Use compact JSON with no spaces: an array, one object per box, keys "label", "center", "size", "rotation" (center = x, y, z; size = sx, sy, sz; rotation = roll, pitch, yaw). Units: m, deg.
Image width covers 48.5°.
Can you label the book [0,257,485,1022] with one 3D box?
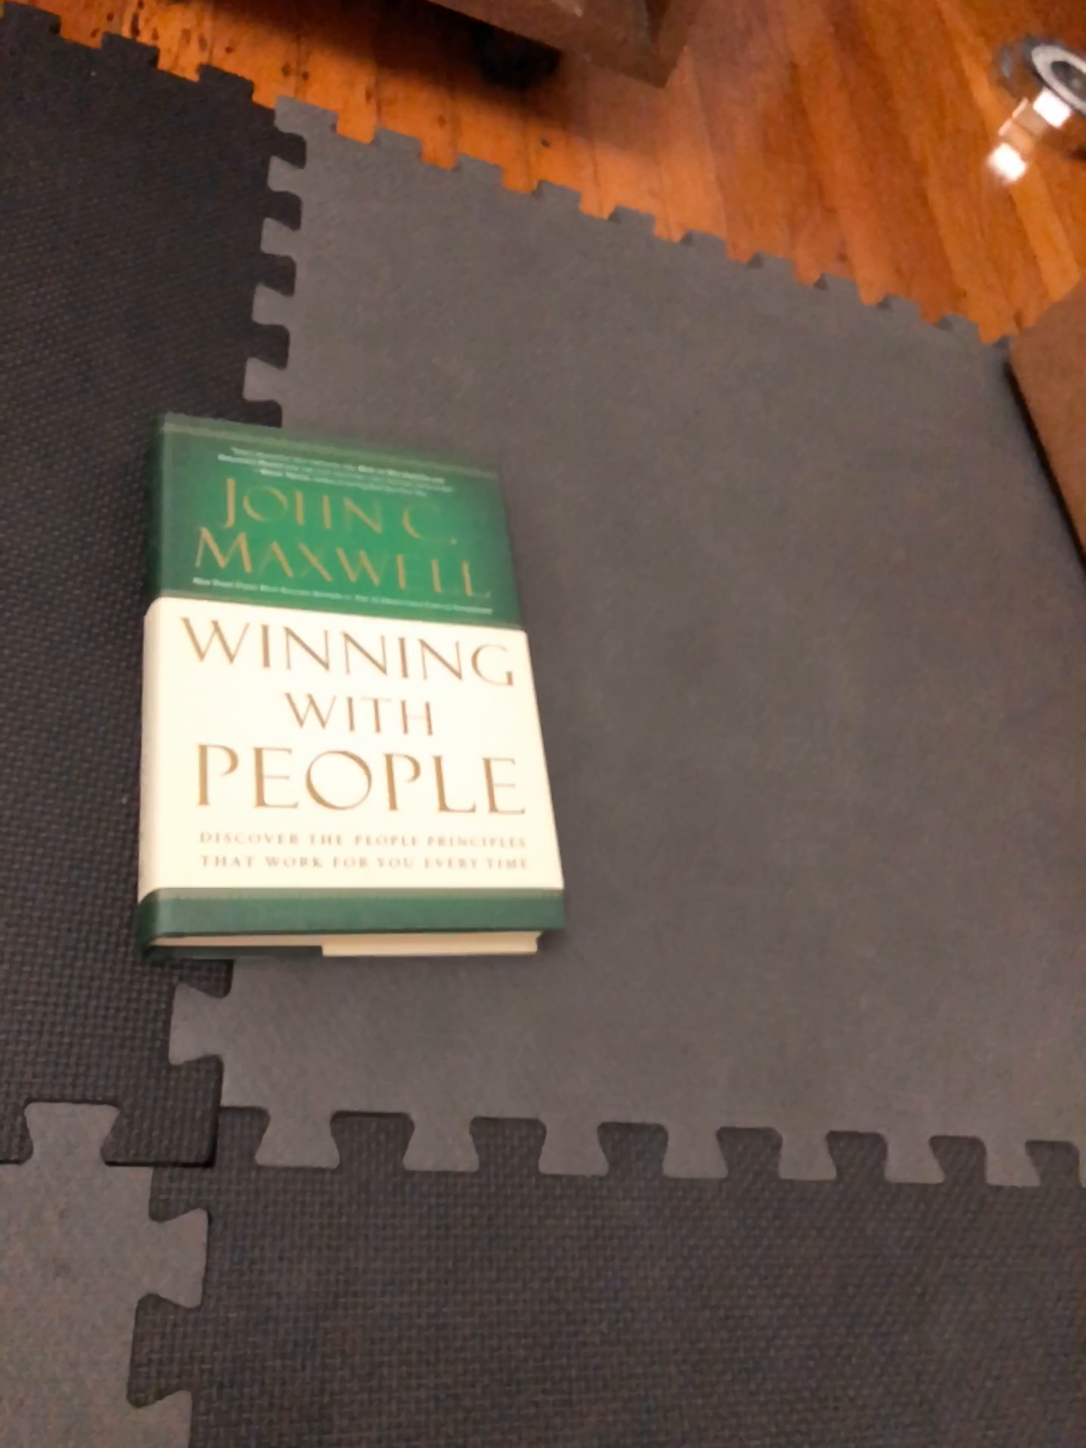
[{"label":"book","center":[-0.132,-0.038,0.447],"size":[0.200,0.030,0.291],"rotation":[6,58,-22]}]
